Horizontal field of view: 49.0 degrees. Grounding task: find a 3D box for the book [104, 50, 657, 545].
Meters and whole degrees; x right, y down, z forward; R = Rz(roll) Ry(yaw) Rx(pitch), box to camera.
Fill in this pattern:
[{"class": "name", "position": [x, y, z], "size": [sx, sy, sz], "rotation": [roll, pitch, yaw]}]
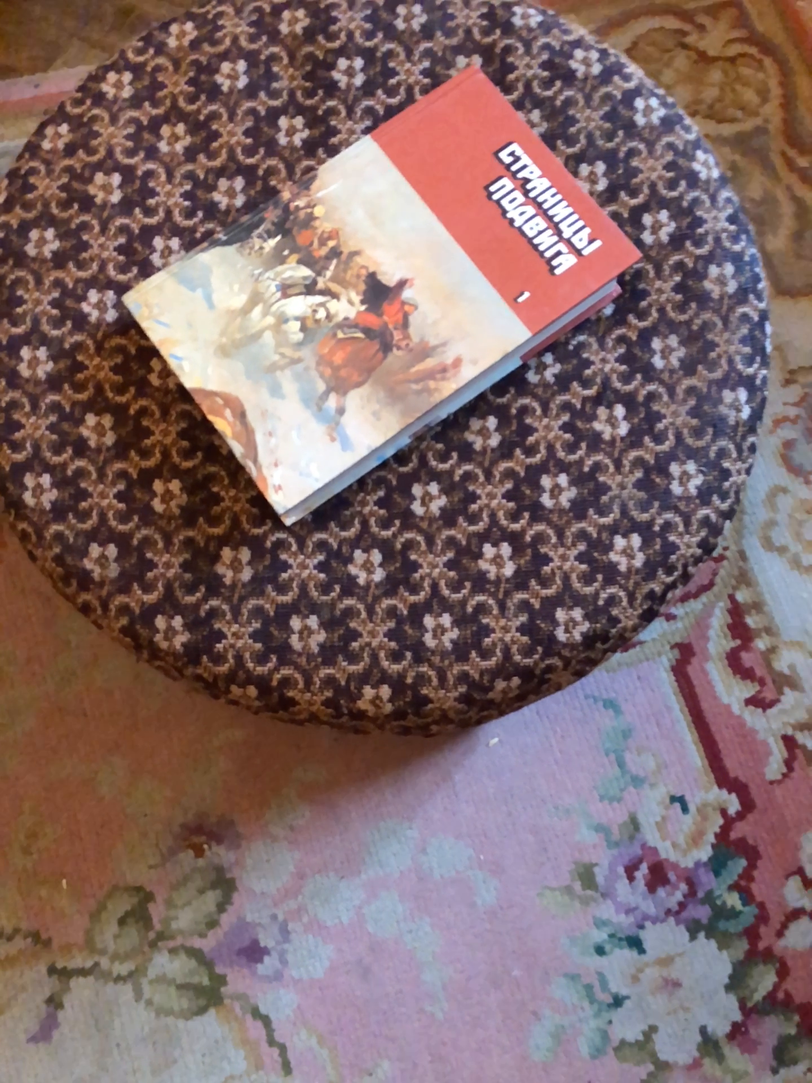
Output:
[{"class": "book", "position": [-0.011, -0.115, 0.415], "size": [0.206, 0.040, 0.134], "rotation": [-36, 80, -7]}]
